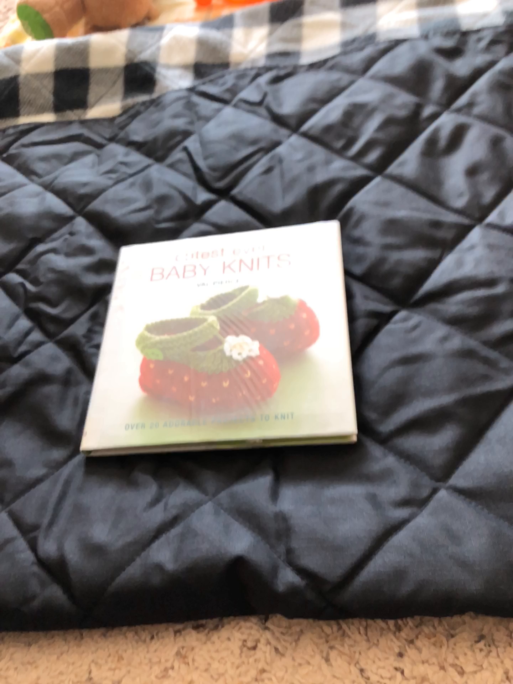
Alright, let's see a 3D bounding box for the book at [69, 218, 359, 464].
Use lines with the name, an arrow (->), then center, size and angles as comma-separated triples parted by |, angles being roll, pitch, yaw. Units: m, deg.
book -> -0.029, -0.008, 0.445 | 0.197, 0.020, 0.200 | -4, 56, 8
